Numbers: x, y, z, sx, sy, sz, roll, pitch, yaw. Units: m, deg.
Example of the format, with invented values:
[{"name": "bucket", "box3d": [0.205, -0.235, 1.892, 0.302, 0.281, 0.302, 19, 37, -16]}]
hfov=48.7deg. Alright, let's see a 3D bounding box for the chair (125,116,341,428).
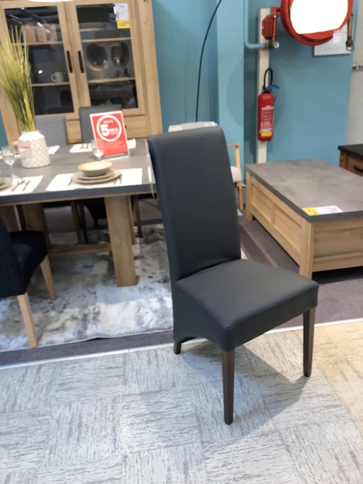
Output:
[{"name": "chair", "box3d": [0.188, 0.060, 1.624, 0.522, 1.015, 0.571, -17, 26, -30]}]
